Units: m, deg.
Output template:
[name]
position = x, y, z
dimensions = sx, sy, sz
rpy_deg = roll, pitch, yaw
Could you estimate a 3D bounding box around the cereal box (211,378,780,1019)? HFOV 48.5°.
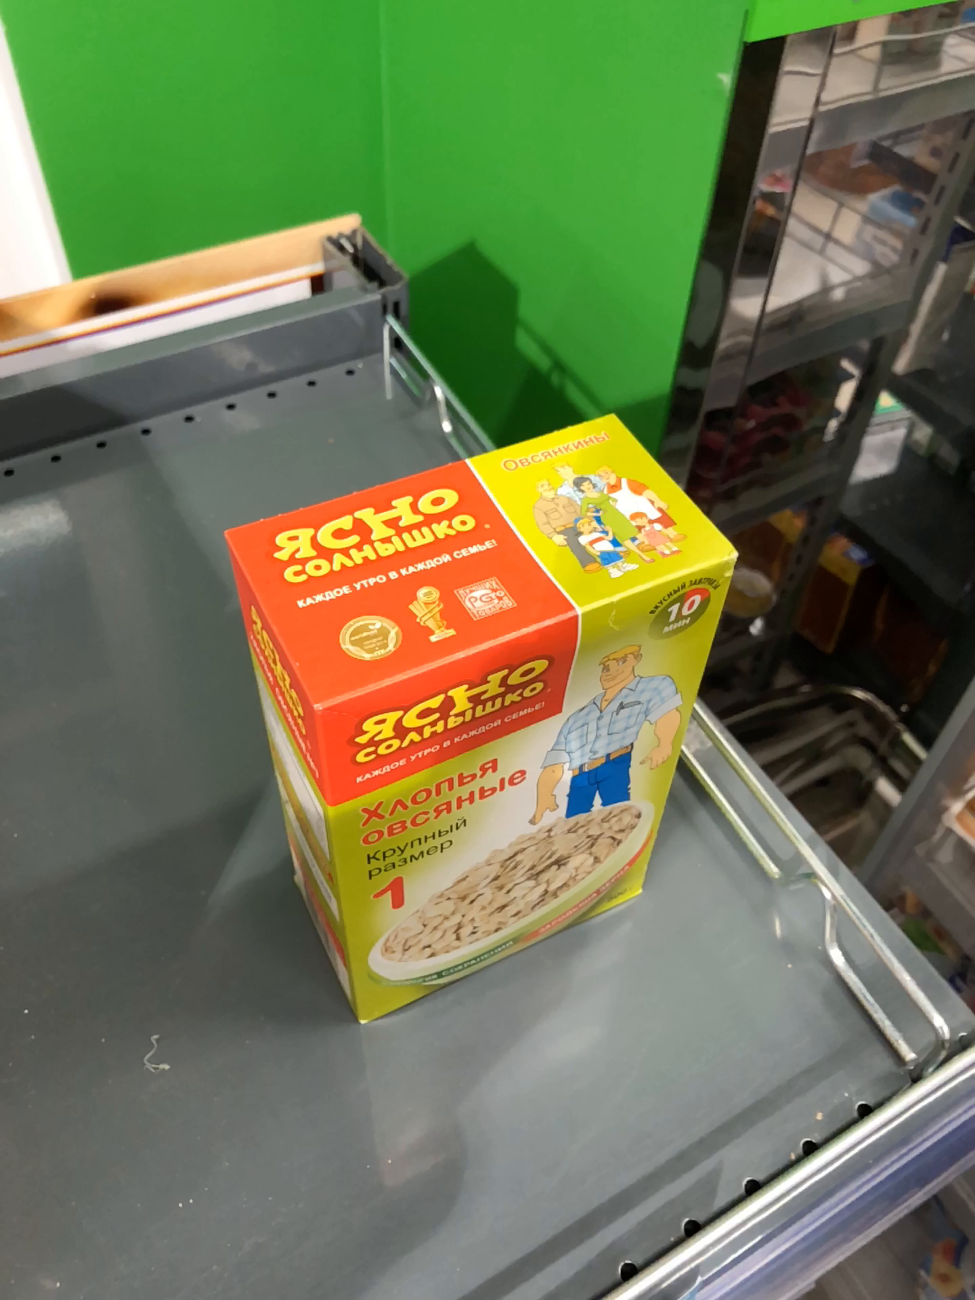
[cereal box]
position = -0.002, 0.023, 0.357
dimensions = 0.130, 0.179, 0.080
rpy_deg = -20, 53, -19
